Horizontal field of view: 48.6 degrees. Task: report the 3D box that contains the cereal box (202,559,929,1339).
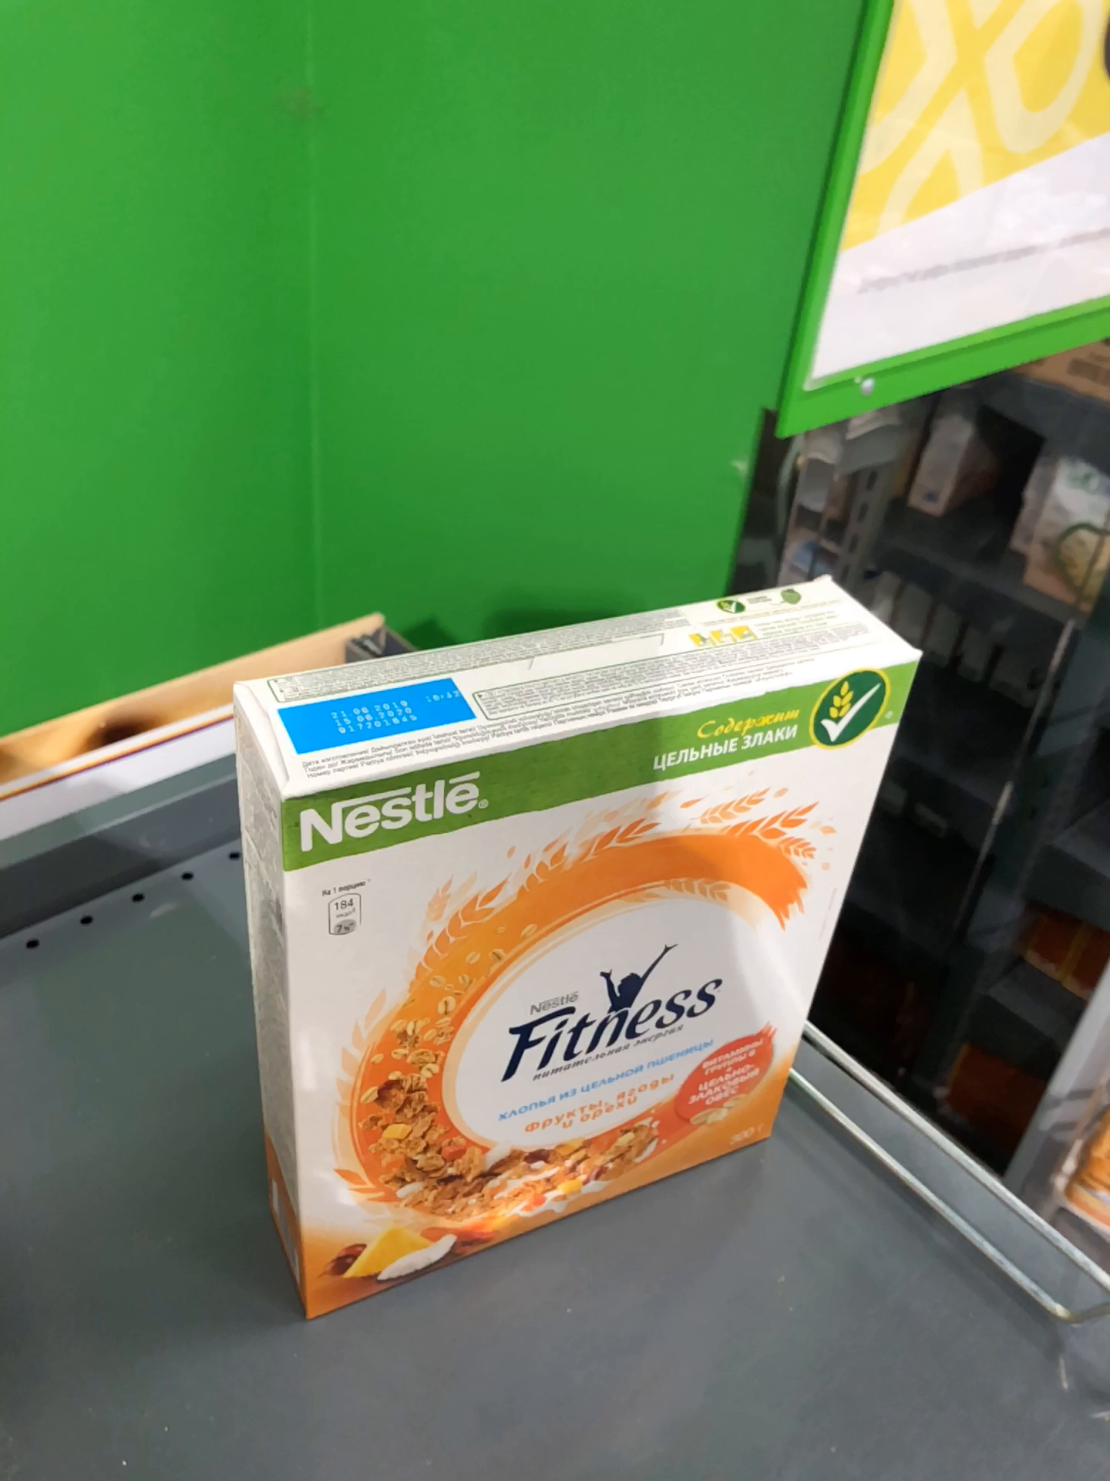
[{"bbox_3d":[-0.002,0.072,0.415,0.200,0.238,0.060,-12,39,-24],"label":"cereal box"}]
